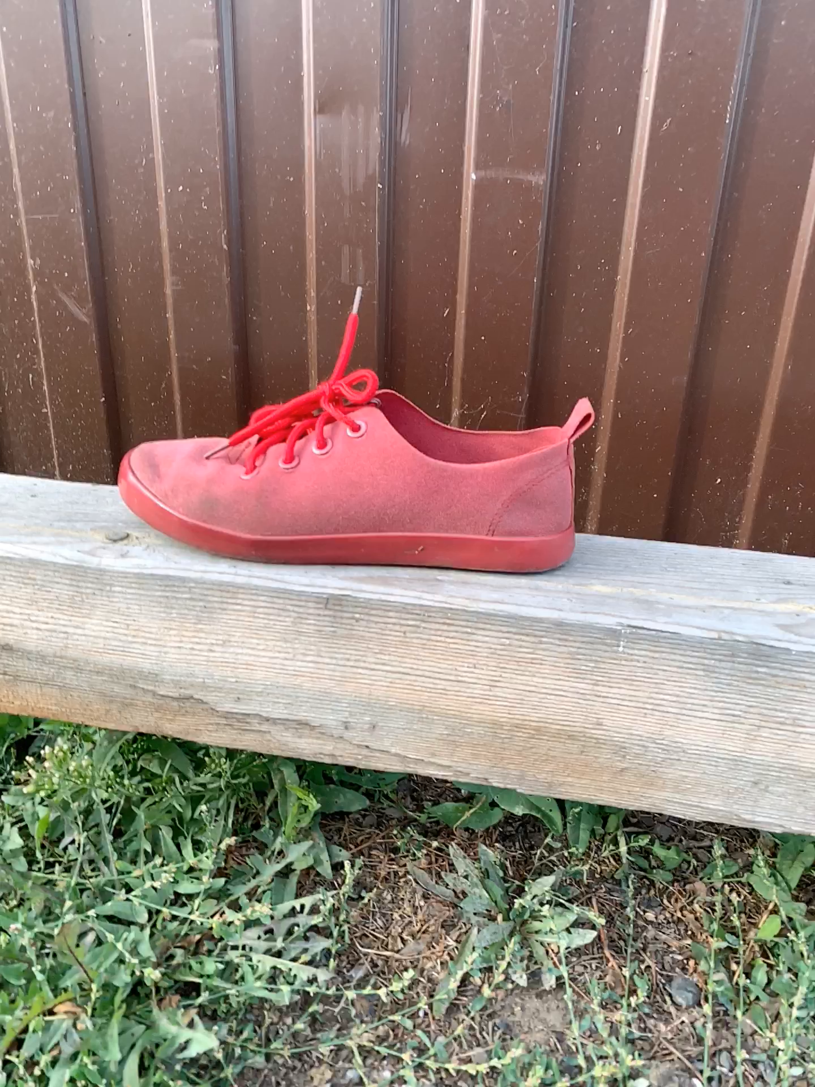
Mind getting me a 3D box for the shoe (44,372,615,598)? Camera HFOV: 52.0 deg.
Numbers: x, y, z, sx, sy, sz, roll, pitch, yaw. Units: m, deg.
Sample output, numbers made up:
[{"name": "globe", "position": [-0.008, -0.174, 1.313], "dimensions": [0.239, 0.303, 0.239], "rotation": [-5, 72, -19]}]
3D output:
[{"name": "shoe", "position": [-0.032, -0.034, 0.406], "dimensions": [0.240, 0.069, 0.101], "rotation": [3, 22, 4]}]
